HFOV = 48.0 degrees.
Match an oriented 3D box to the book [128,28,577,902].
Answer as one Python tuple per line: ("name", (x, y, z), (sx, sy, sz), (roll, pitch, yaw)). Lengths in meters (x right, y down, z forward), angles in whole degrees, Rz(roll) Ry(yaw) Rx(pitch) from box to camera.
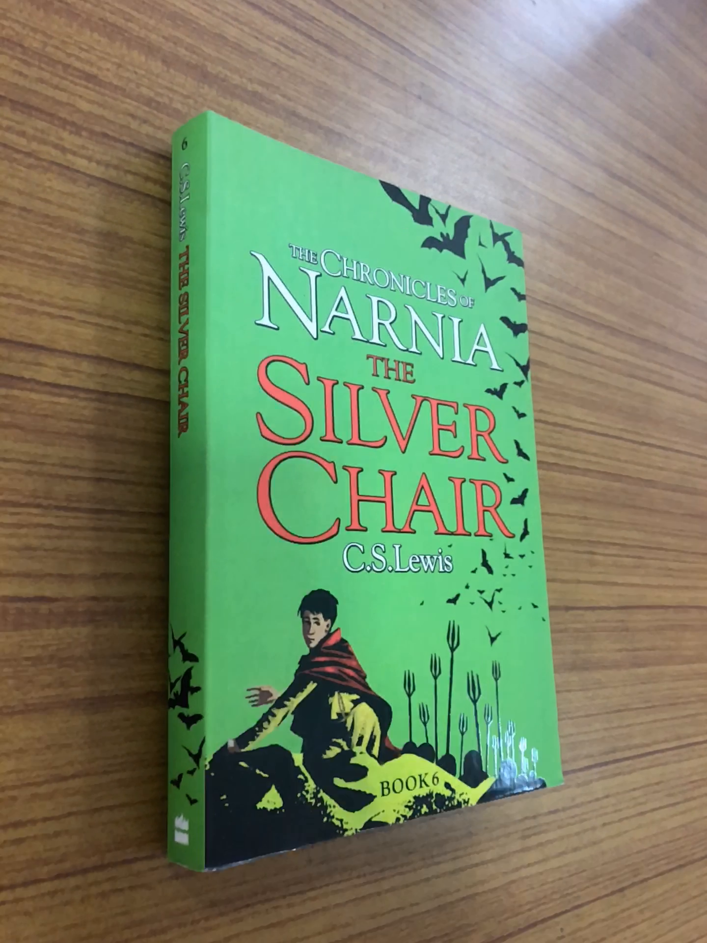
("book", (0.005, -0.003, 0.243), (0.141, 0.030, 0.210), (6, 78, -39))
